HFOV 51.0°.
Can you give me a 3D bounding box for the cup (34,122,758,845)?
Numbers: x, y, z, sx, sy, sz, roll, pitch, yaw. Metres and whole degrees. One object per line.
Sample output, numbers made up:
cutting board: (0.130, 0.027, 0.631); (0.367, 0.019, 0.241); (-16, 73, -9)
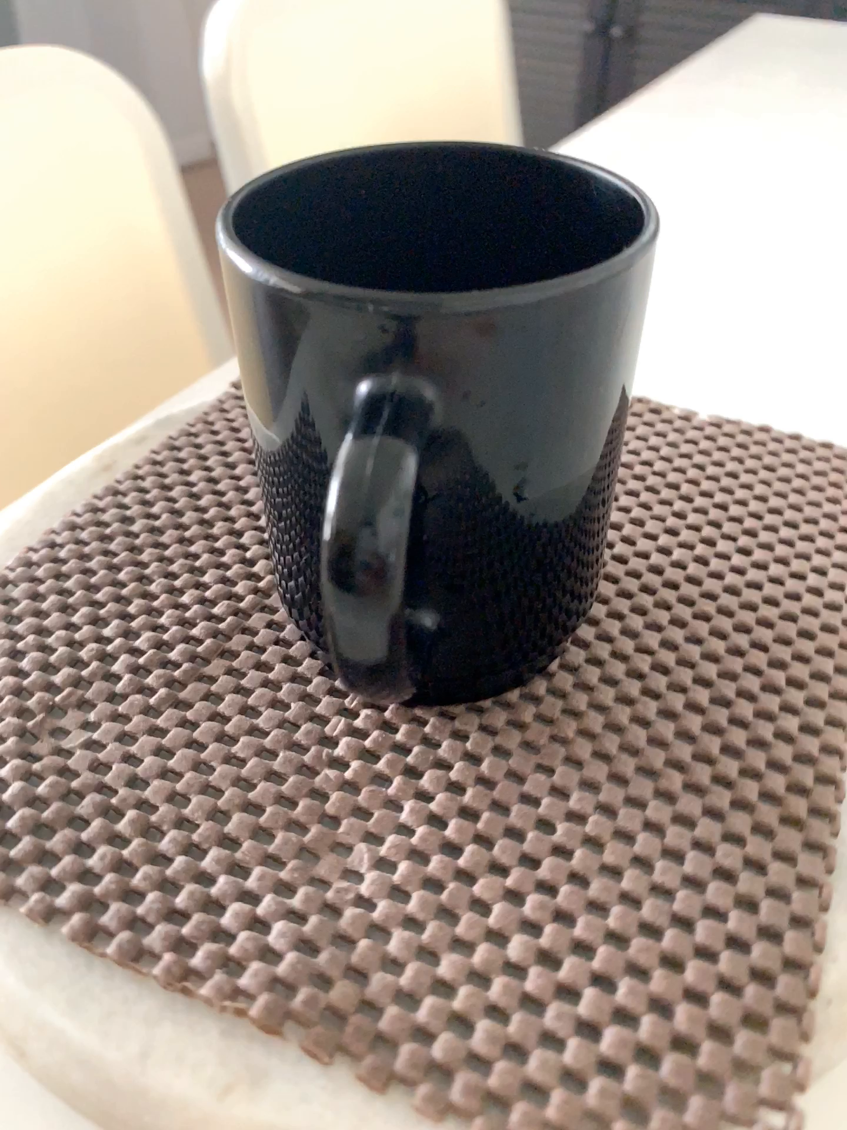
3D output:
cup: (0.001, -0.021, 0.157); (0.076, 0.080, 0.101); (3, 41, 5)
